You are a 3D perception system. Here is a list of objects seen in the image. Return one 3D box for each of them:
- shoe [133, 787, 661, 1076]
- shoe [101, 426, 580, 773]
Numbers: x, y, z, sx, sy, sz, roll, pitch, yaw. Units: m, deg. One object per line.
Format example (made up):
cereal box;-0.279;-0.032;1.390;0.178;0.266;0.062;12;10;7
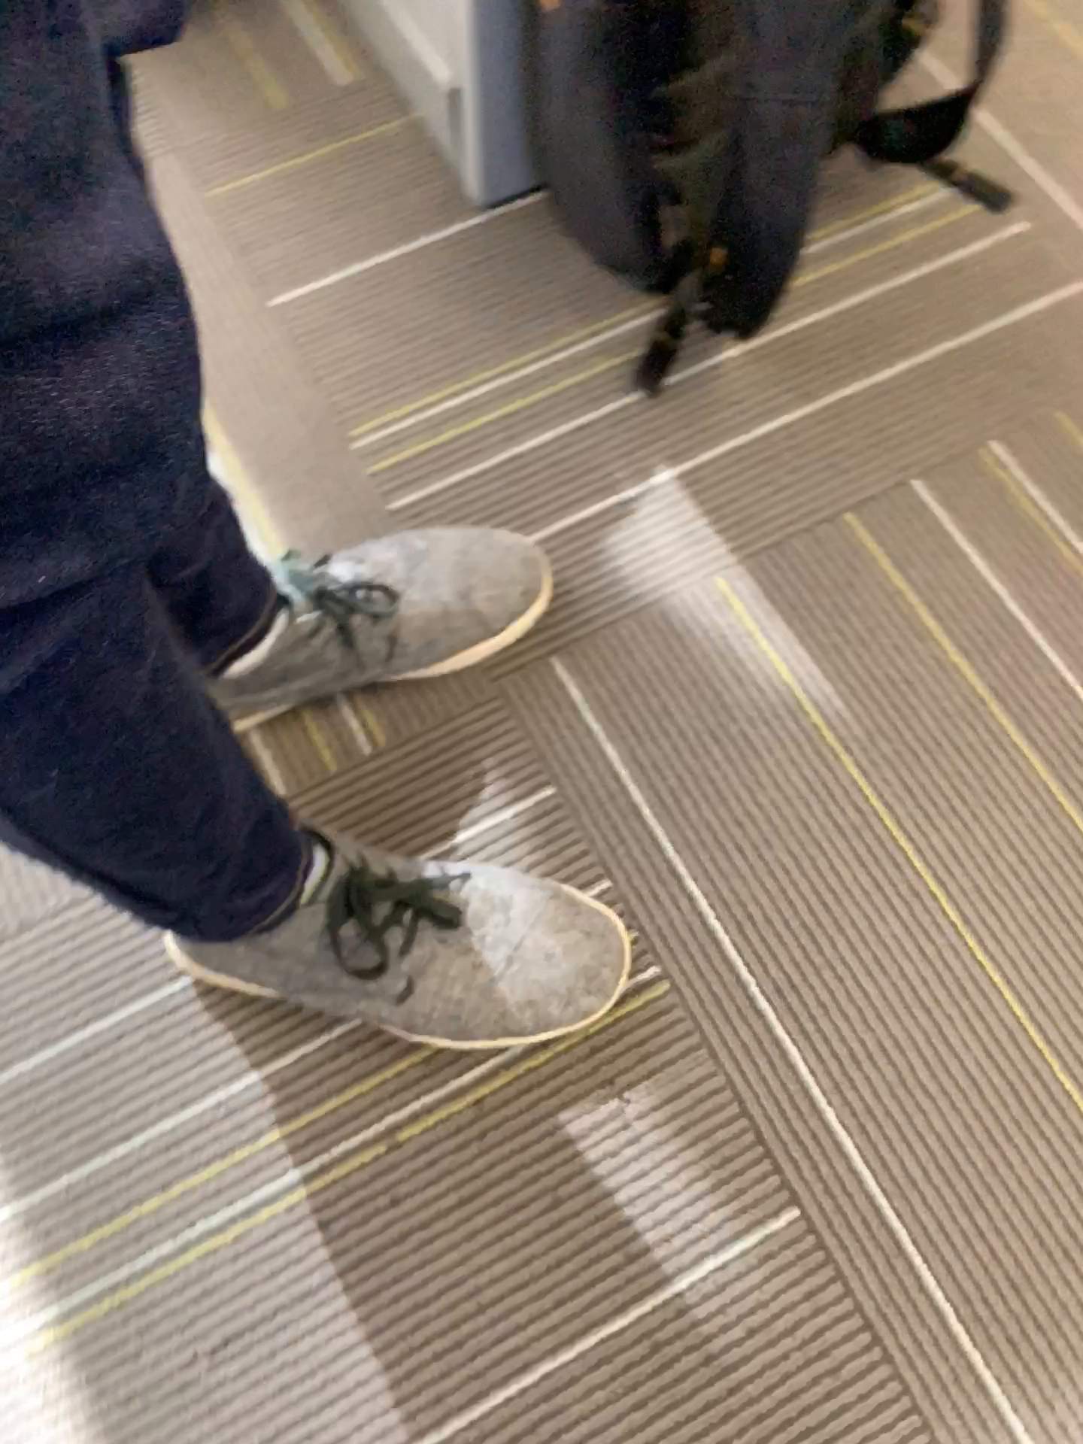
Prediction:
shoe;-0.082;0.133;0.711;0.299;0.087;0.134;5;67;4
shoe;-0.138;-0.089;0.807;0.301;0.087;0.134;-20;68;-8
